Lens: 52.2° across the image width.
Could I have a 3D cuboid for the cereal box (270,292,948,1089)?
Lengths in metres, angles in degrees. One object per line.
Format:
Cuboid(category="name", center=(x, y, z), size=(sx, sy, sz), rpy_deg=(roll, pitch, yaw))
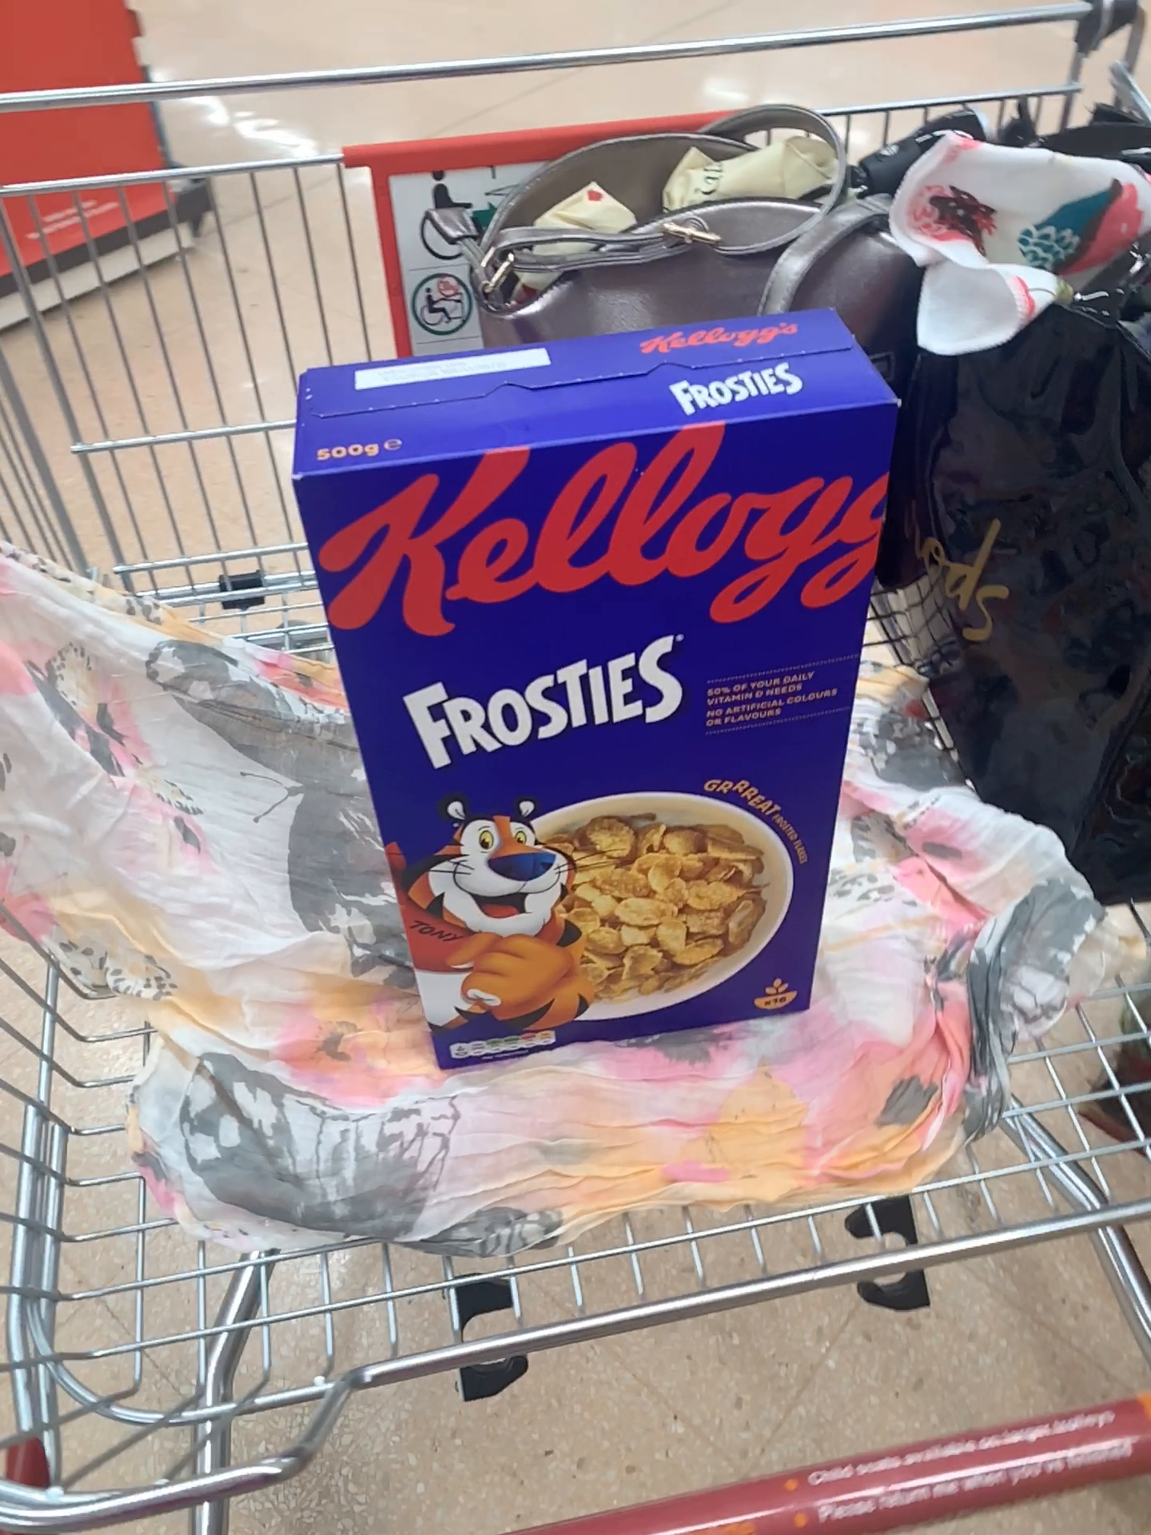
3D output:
Cuboid(category="cereal box", center=(0.011, -0.008, 0.500), size=(0.210, 0.337, 0.081), rpy_deg=(-8, 43, -6))
